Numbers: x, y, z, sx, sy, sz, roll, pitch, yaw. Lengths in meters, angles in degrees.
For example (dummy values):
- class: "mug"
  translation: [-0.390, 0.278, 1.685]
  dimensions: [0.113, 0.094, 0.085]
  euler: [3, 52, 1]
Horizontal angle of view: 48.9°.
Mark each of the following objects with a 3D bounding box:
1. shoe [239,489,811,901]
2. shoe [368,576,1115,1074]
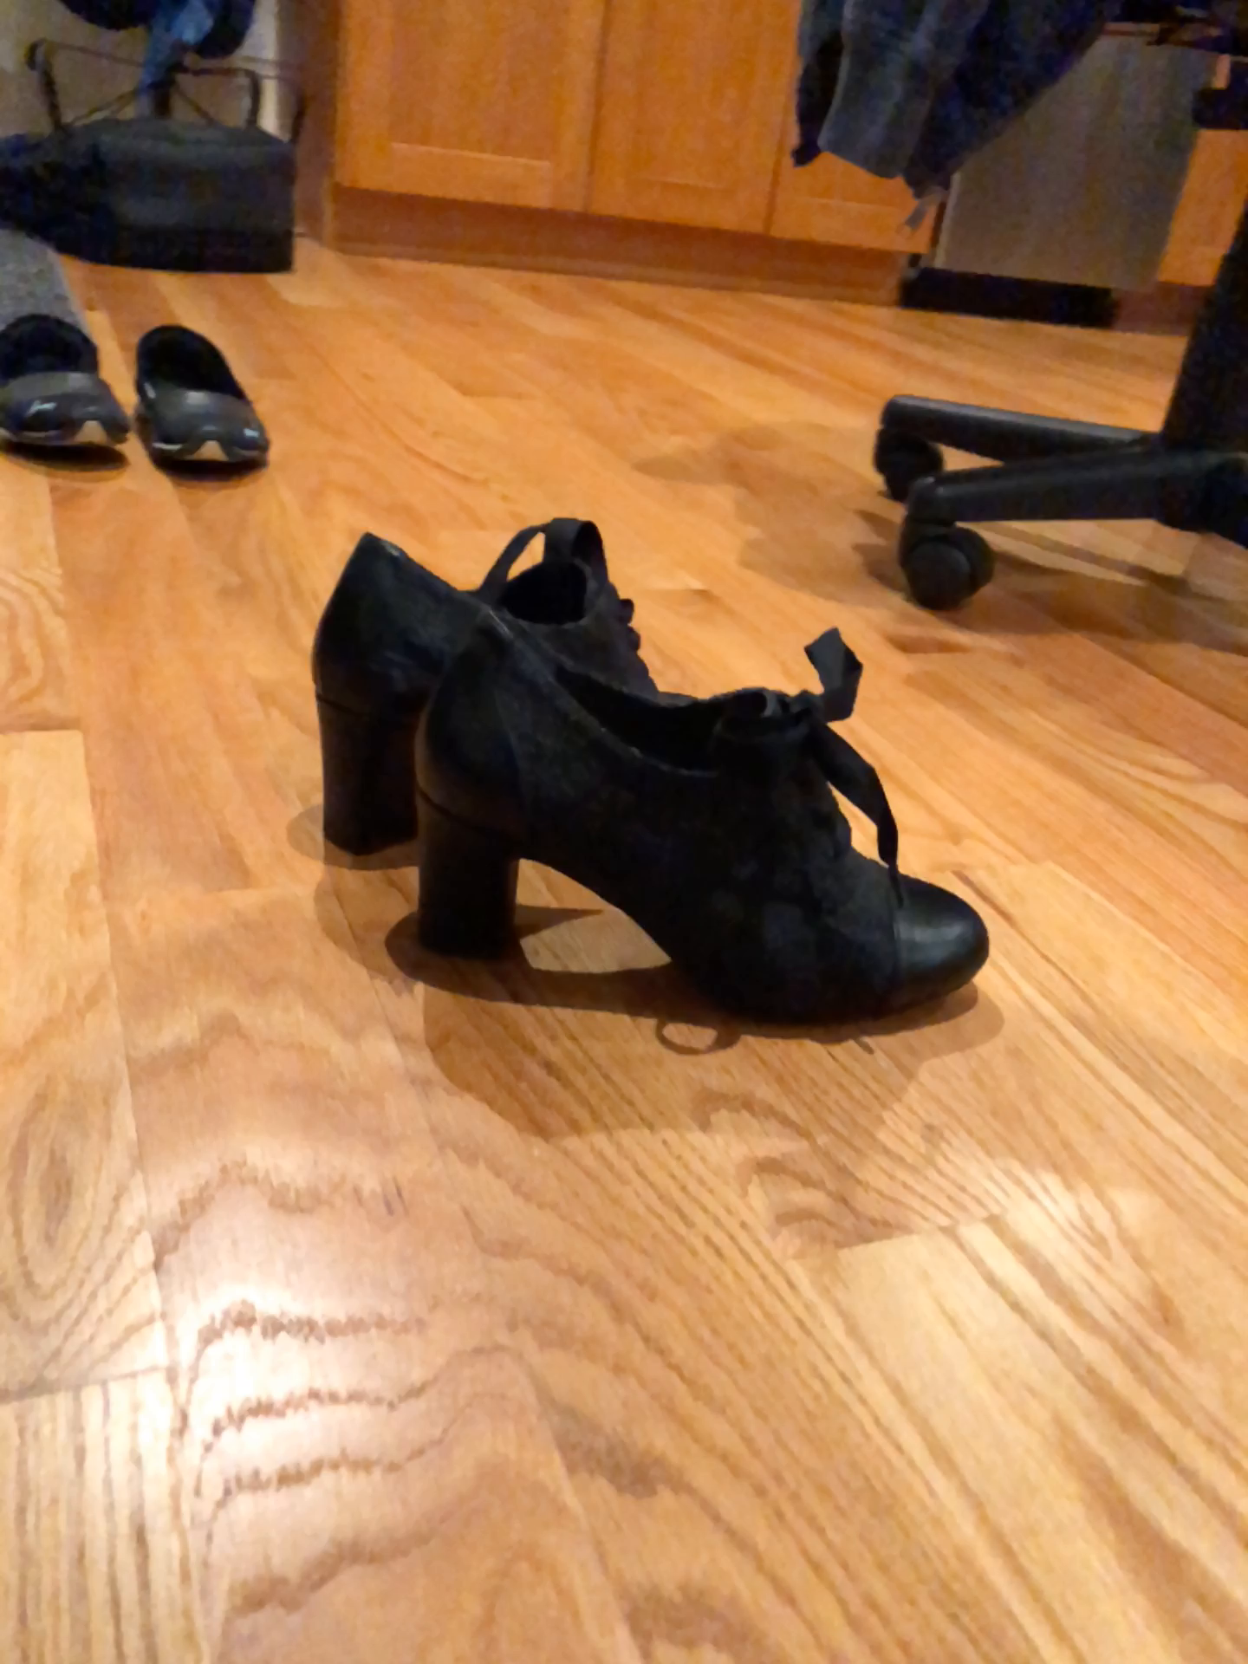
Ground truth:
- class: "shoe"
  translation: [-0.041, -0.069, 0.589]
  dimensions: [0.223, 0.125, 0.088]
  euler: [-13, 34, -37]
- class: "shoe"
  translation: [0.031, -0.003, 0.482]
  dimensions: [0.223, 0.125, 0.094]
  euler: [5, 27, -6]
